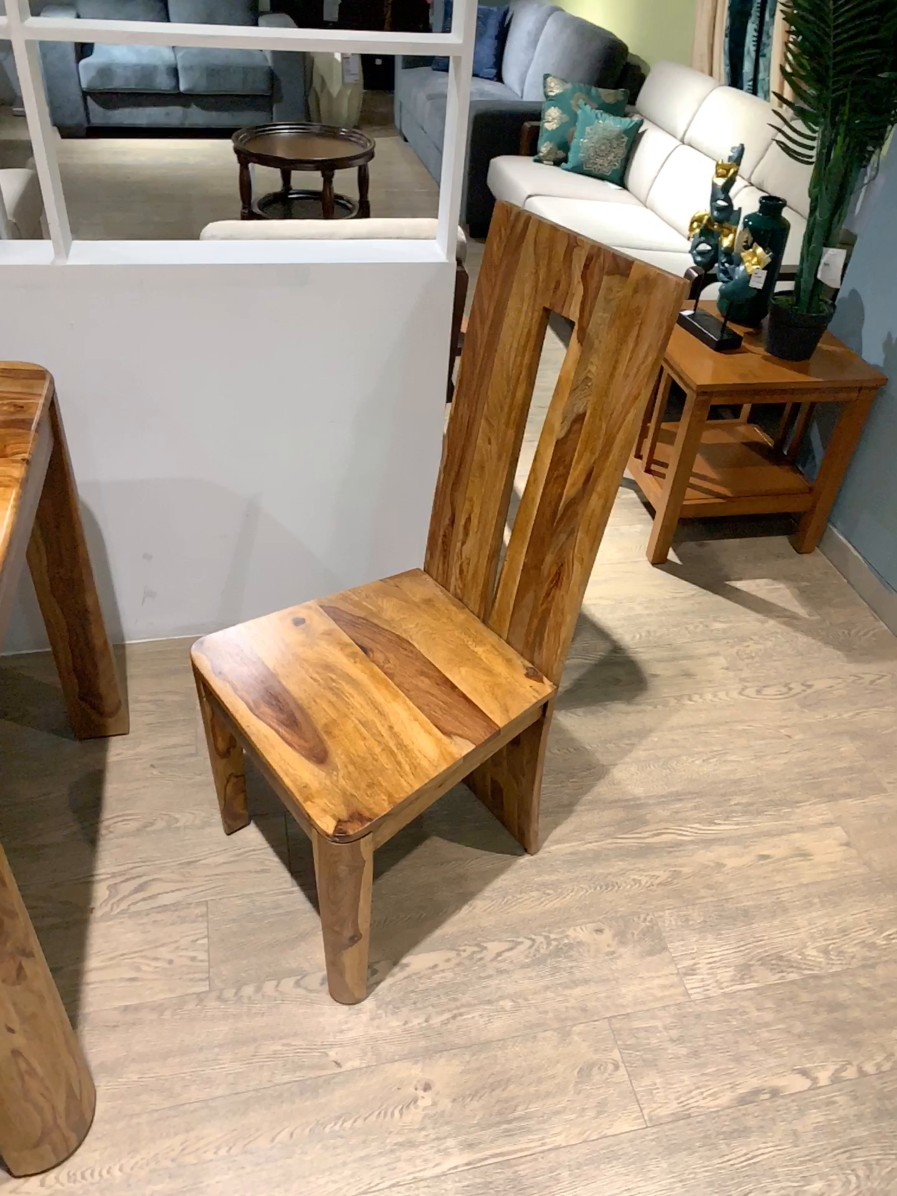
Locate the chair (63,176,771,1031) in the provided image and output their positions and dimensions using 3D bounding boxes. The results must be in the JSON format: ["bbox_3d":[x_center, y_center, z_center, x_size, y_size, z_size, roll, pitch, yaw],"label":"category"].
[{"bbox_3d":[-0.060,0.010,1.314,0.601,0.966,0.501,-26,48,-32],"label":"chair"}]
